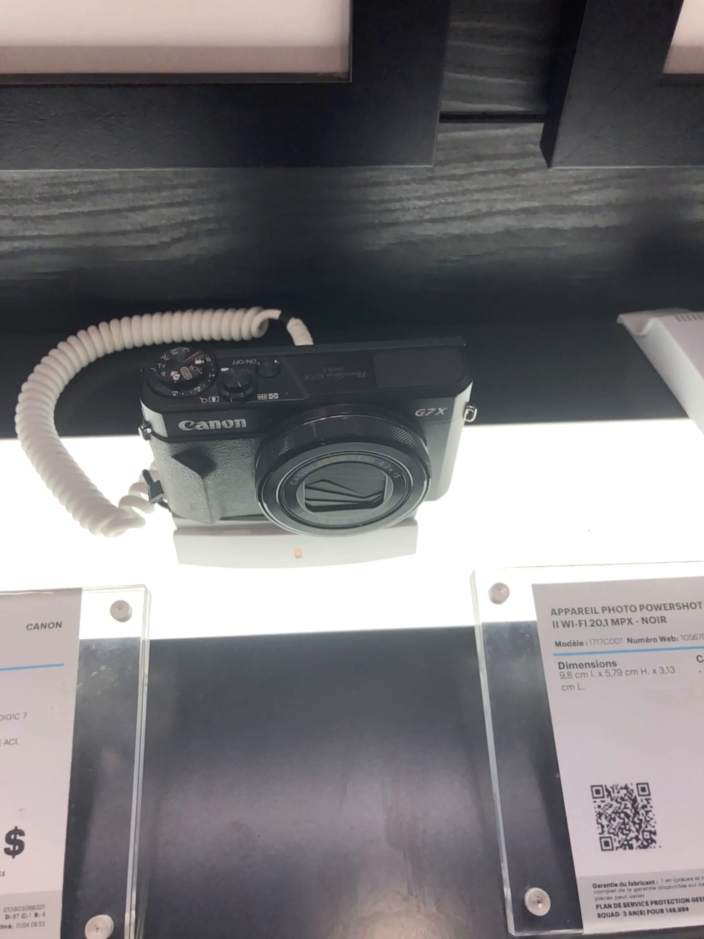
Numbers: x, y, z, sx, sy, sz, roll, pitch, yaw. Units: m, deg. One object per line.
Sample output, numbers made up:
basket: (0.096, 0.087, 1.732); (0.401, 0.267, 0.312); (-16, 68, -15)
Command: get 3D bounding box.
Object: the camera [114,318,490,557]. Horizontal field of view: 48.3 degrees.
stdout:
camera: (-0.016, -0.009, 0.270); (0.110, 0.079, 0.030); (-3, 50, -5)
